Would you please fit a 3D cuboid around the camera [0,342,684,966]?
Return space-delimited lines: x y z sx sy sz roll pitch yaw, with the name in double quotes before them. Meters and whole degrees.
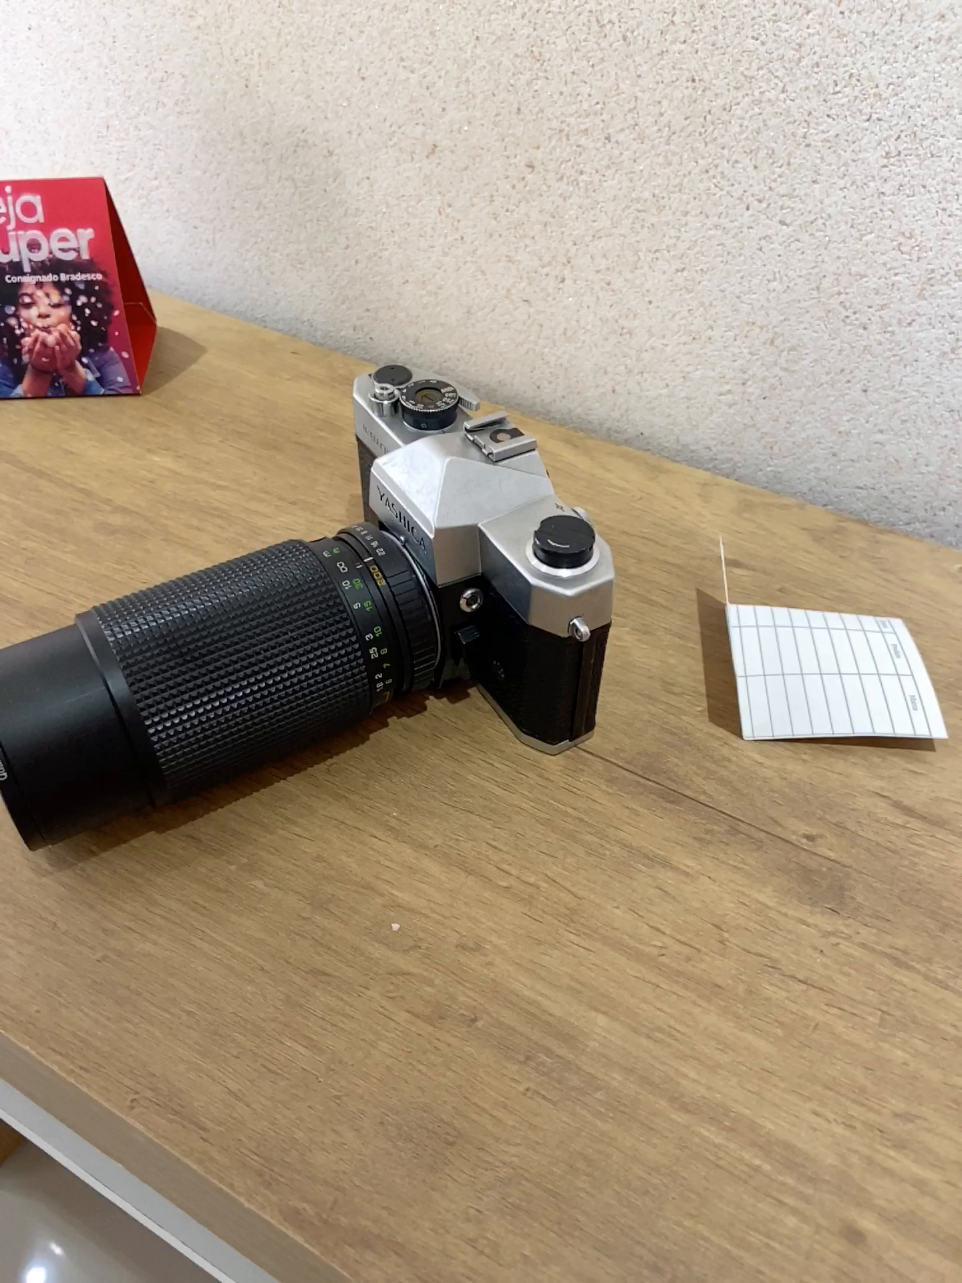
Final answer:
"camera" -0.062 -0.013 0.342 0.200 0.080 0.151 -19 47 -19
